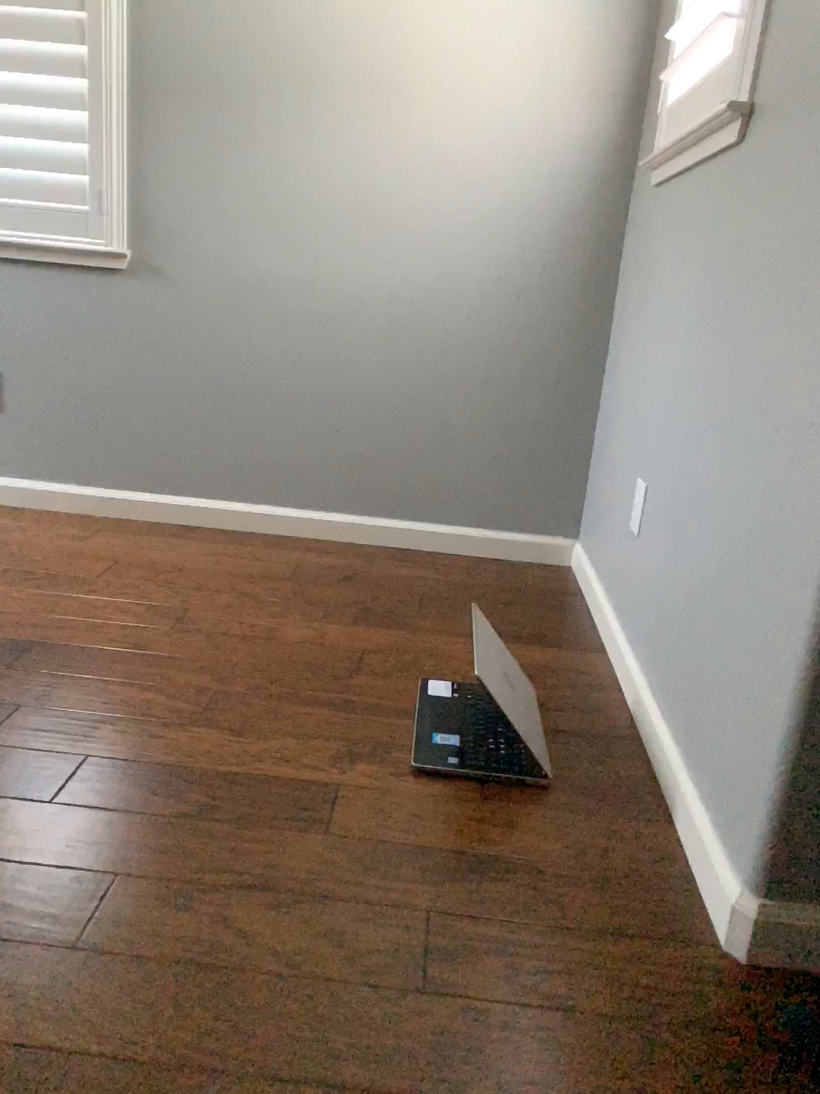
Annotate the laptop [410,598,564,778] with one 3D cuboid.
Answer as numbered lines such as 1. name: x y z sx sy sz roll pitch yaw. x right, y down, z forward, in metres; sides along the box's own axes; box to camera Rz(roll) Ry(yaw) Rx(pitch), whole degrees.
1. laptop: 0.128 0.233 1.460 0.219 0.169 0.318 6 16 2
